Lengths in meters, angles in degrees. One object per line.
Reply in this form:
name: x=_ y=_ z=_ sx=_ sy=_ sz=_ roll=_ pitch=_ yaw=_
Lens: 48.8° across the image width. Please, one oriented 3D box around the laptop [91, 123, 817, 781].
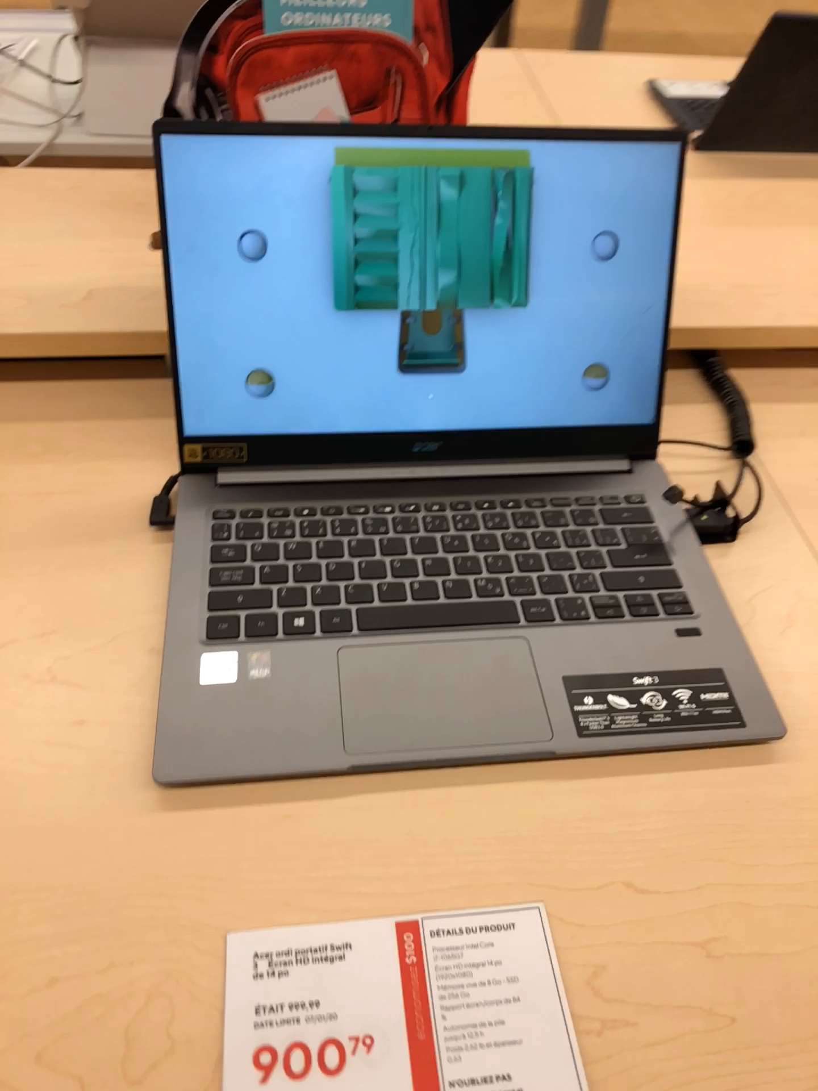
laptop: x=0.026 y=-0.071 z=0.487 sx=0.315 sy=0.177 sz=0.312 roll=-2 pitch=46 yaw=-8
